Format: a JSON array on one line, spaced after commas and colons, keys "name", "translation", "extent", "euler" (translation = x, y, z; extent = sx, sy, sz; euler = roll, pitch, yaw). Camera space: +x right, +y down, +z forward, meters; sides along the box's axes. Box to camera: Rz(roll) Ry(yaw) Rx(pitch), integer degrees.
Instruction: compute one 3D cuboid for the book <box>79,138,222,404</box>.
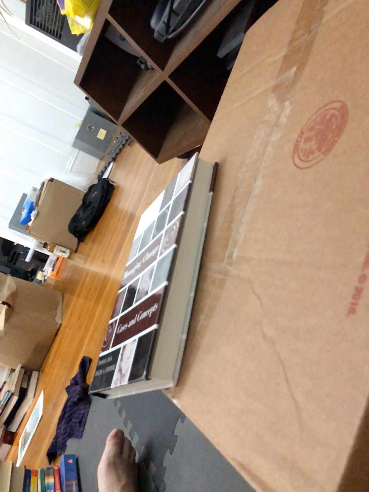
[{"name": "book", "translation": [-0.037, 0.032, 0.437], "extent": [0.180, 0.030, 0.251], "euler": [-37, 35, 53]}]
